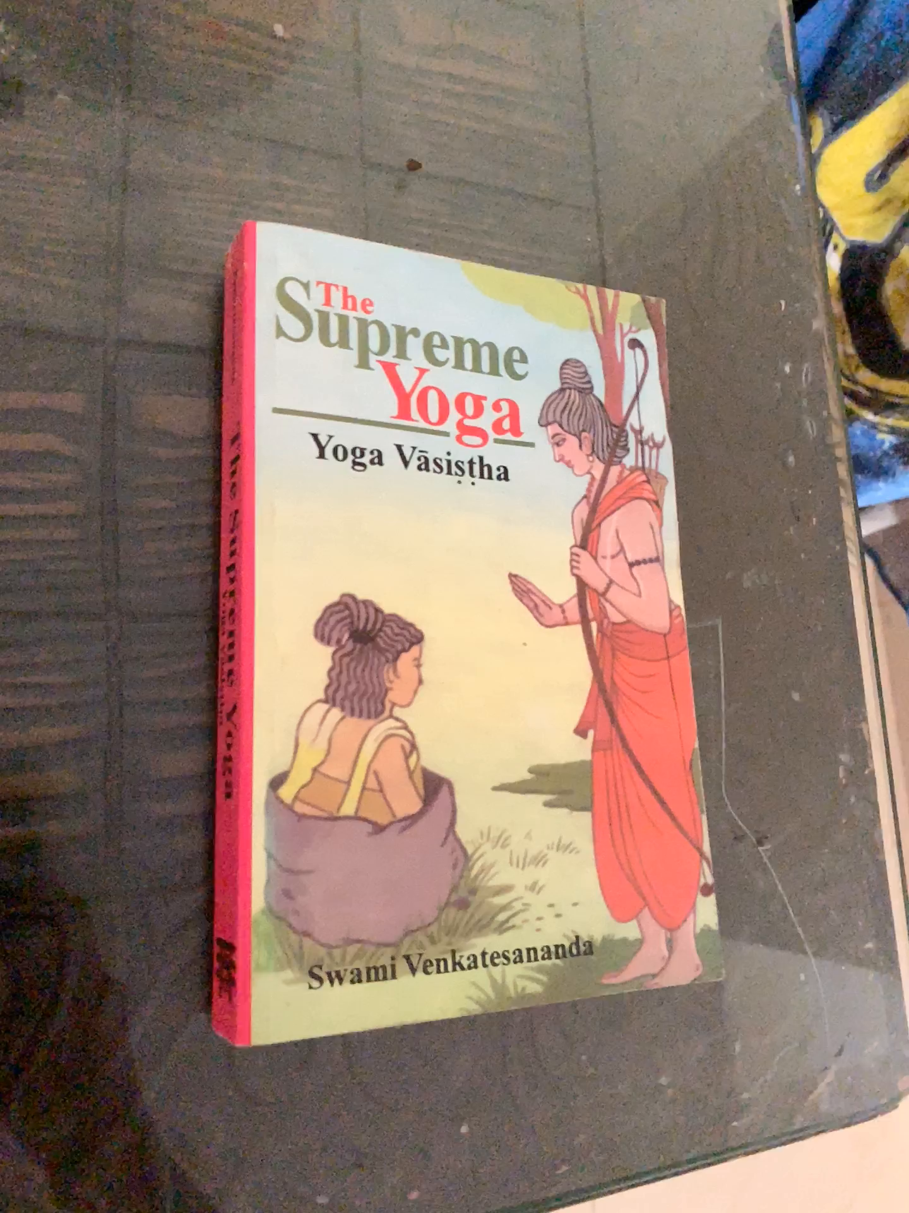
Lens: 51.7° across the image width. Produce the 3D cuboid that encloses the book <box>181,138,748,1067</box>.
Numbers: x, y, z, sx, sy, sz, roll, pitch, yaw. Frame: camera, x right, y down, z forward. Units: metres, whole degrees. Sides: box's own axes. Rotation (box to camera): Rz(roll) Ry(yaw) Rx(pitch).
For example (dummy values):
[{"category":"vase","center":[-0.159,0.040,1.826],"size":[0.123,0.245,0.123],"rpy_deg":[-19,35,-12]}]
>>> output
[{"category":"book","center":[0.003,-0.005,0.250],"size":[0.140,0.030,0.210],"rpy_deg":[2,79,-23]}]
